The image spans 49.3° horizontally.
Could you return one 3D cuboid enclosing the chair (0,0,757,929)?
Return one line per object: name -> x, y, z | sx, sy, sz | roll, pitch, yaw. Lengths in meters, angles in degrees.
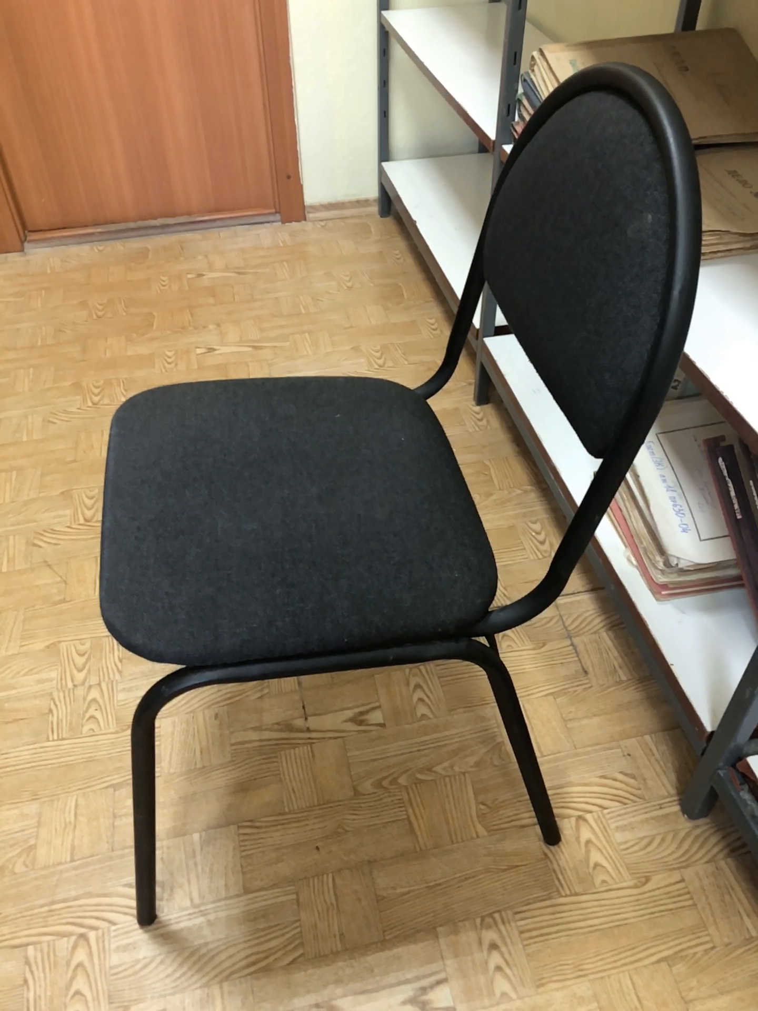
chair -> -0.059, -0.005, 0.899 | 0.560, 0.835, 0.475 | -8, 43, -7
